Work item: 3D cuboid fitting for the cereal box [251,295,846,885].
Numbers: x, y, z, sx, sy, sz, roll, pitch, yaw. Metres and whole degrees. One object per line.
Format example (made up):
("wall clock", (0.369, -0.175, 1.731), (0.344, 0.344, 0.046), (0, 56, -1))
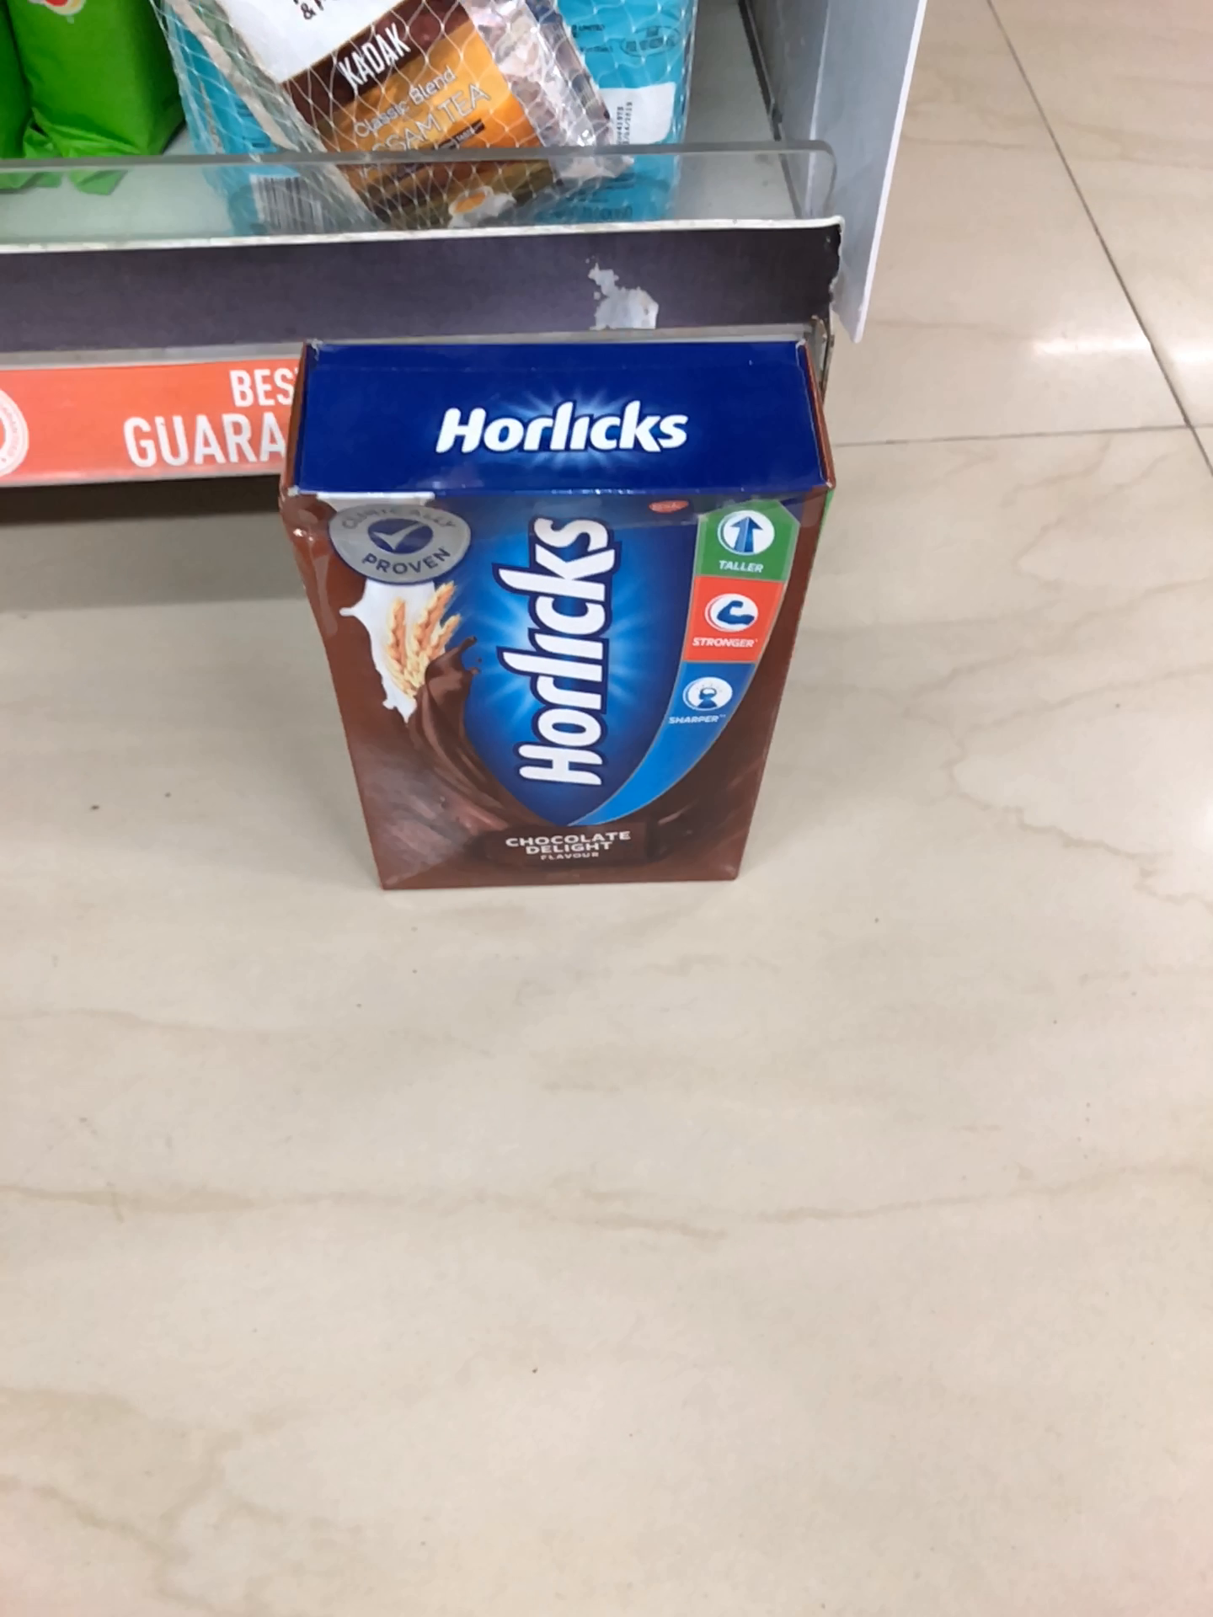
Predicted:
("cereal box", (-0.018, -0.053, 0.422), (0.140, 0.209, 0.060), (-2, 59, -3))
